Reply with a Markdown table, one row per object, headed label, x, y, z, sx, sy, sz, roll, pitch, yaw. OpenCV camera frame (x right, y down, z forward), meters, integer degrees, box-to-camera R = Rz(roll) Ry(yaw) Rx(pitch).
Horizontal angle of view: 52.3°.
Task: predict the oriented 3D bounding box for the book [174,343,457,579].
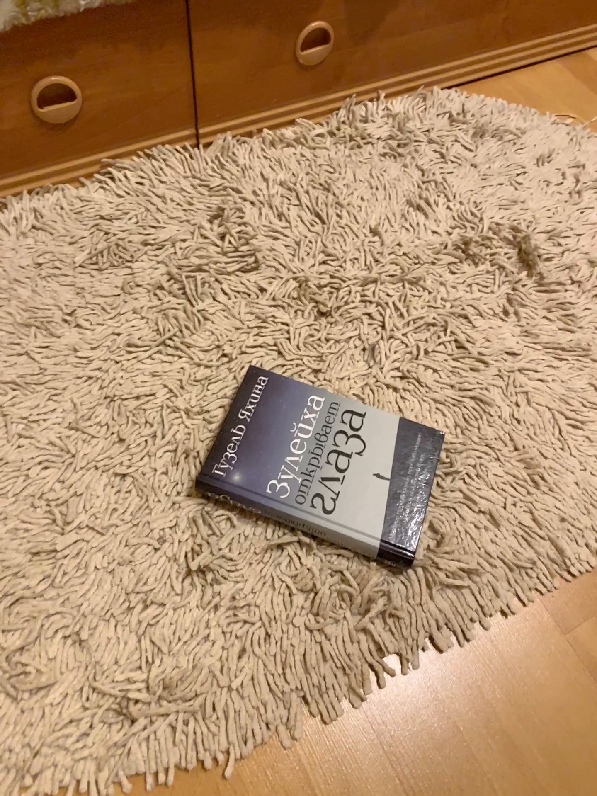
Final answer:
| label | x | y | z | sx | sy | sz | roll | pitch | yaw |
| --- | --- | --- | --- | --- | --- | --- | --- | --- | --- |
| book | 0.020 | 0.053 | 0.567 | 0.220 | 0.040 | 0.151 | 19 | 60 | 6 |
